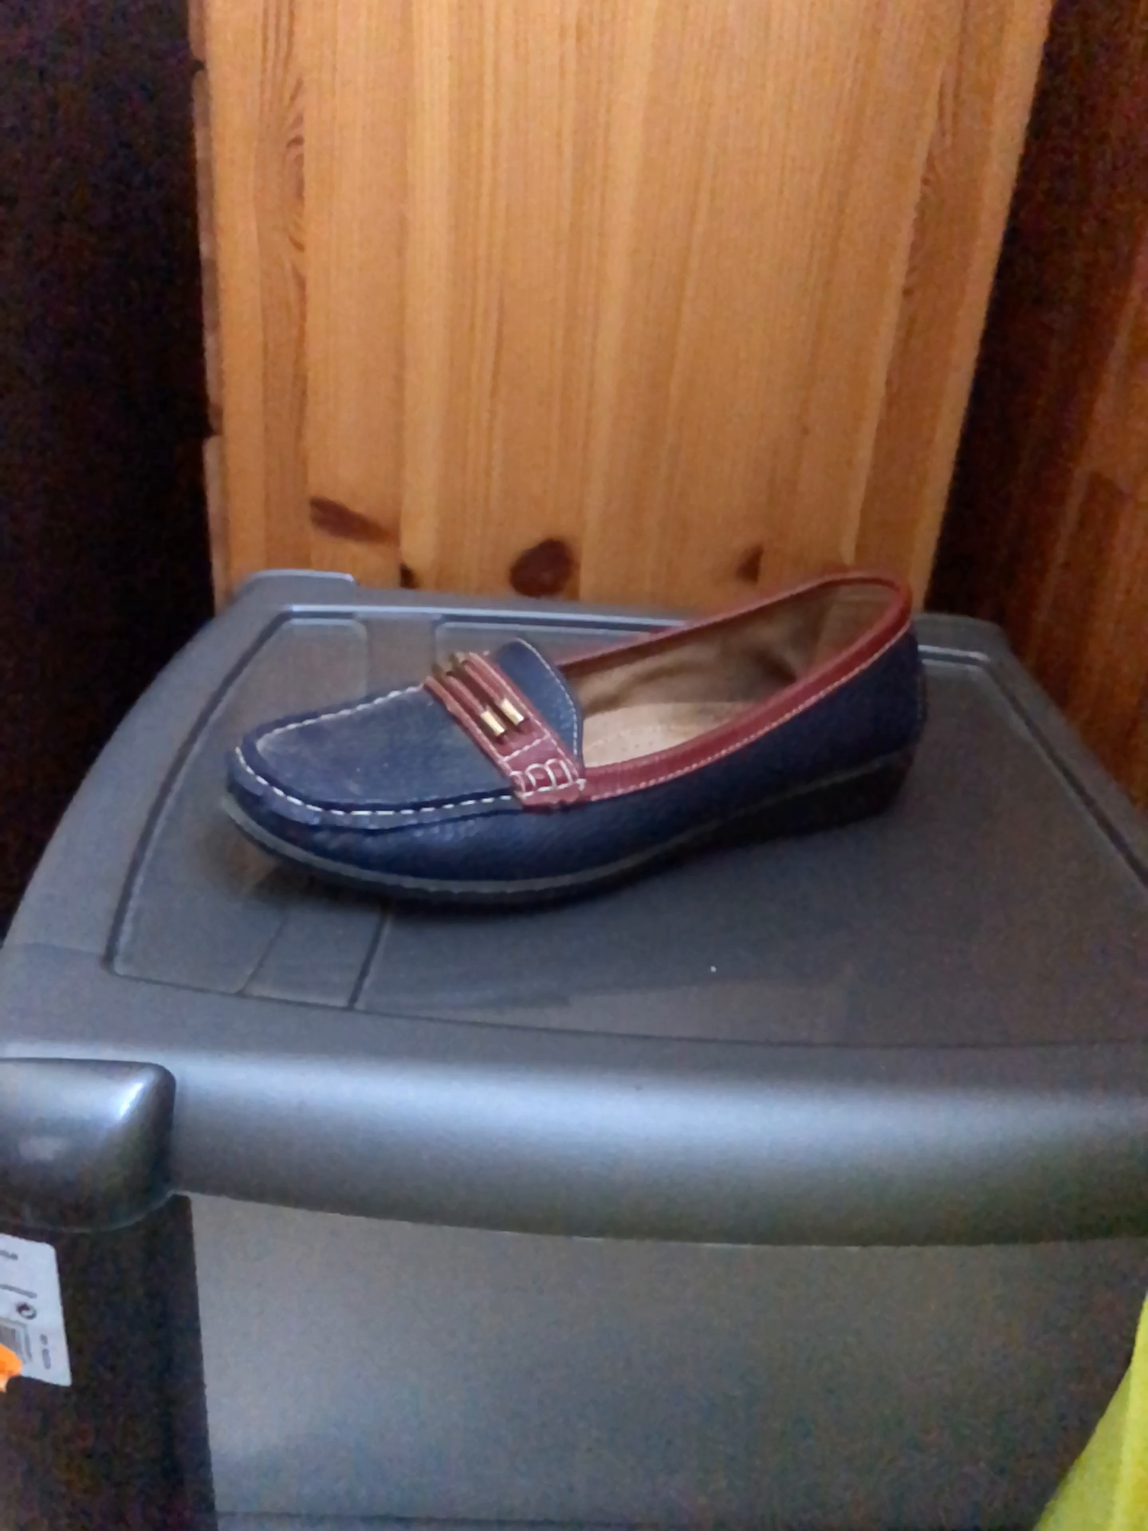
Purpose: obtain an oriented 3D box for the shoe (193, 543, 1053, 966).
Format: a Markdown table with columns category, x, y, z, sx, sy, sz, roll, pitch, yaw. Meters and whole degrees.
| category | x | y | z | sx | sy | sz | roll | pitch | yaw |
| --- | --- | --- | --- | --- | --- | --- | --- | --- | --- |
| shoe | 0.018 | -0.017 | 0.423 | 0.261 | 0.070 | 0.100 | -8 | 31 | -25 |
